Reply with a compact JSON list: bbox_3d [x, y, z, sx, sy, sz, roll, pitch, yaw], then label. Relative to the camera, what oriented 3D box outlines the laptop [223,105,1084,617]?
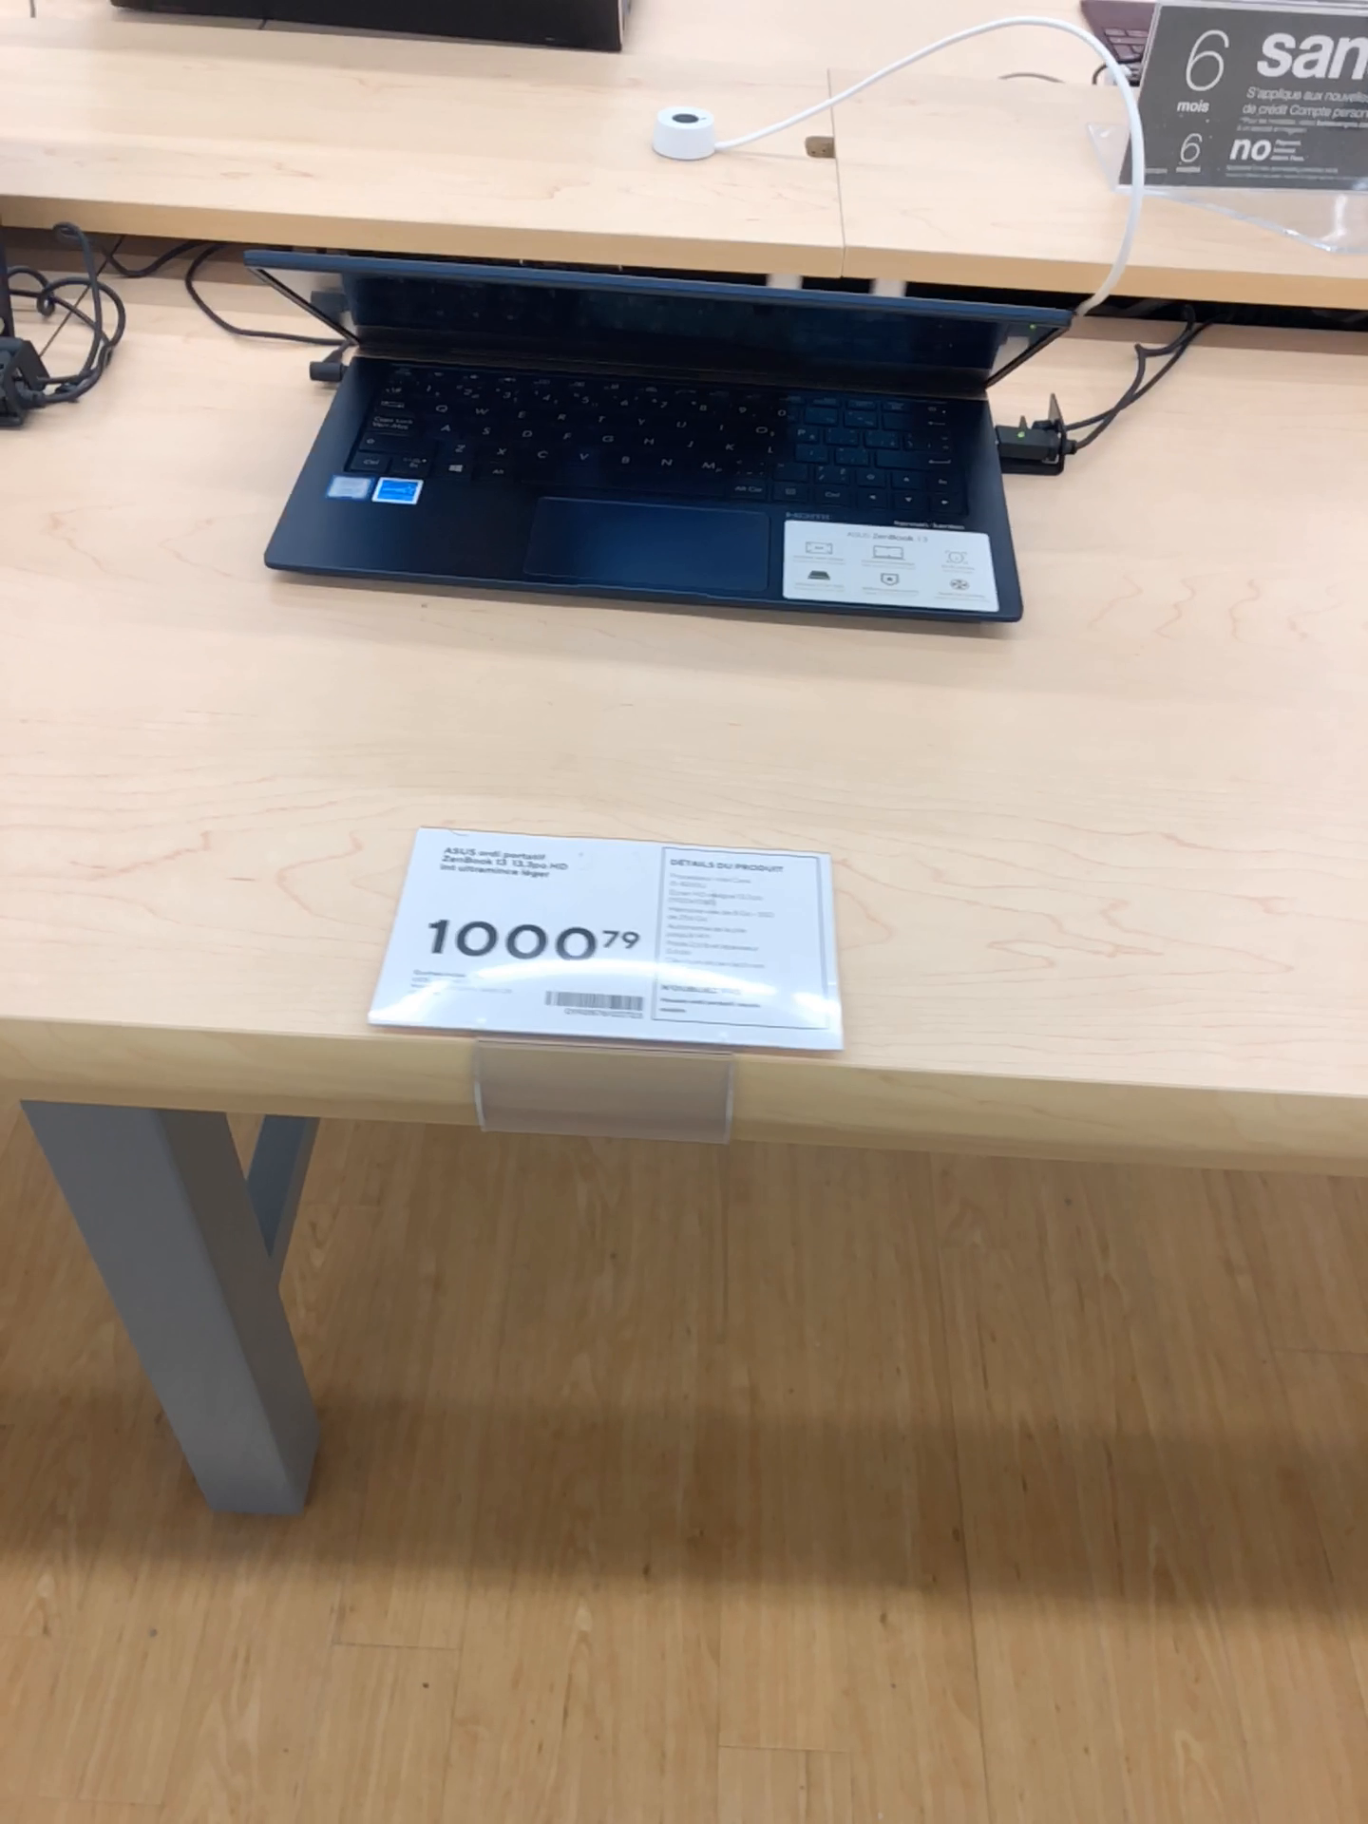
[{"bbox_3d":[-0.008,-0.235,0.627,0.299,0.107,0.197,4,46,0],"label":"laptop"}]
